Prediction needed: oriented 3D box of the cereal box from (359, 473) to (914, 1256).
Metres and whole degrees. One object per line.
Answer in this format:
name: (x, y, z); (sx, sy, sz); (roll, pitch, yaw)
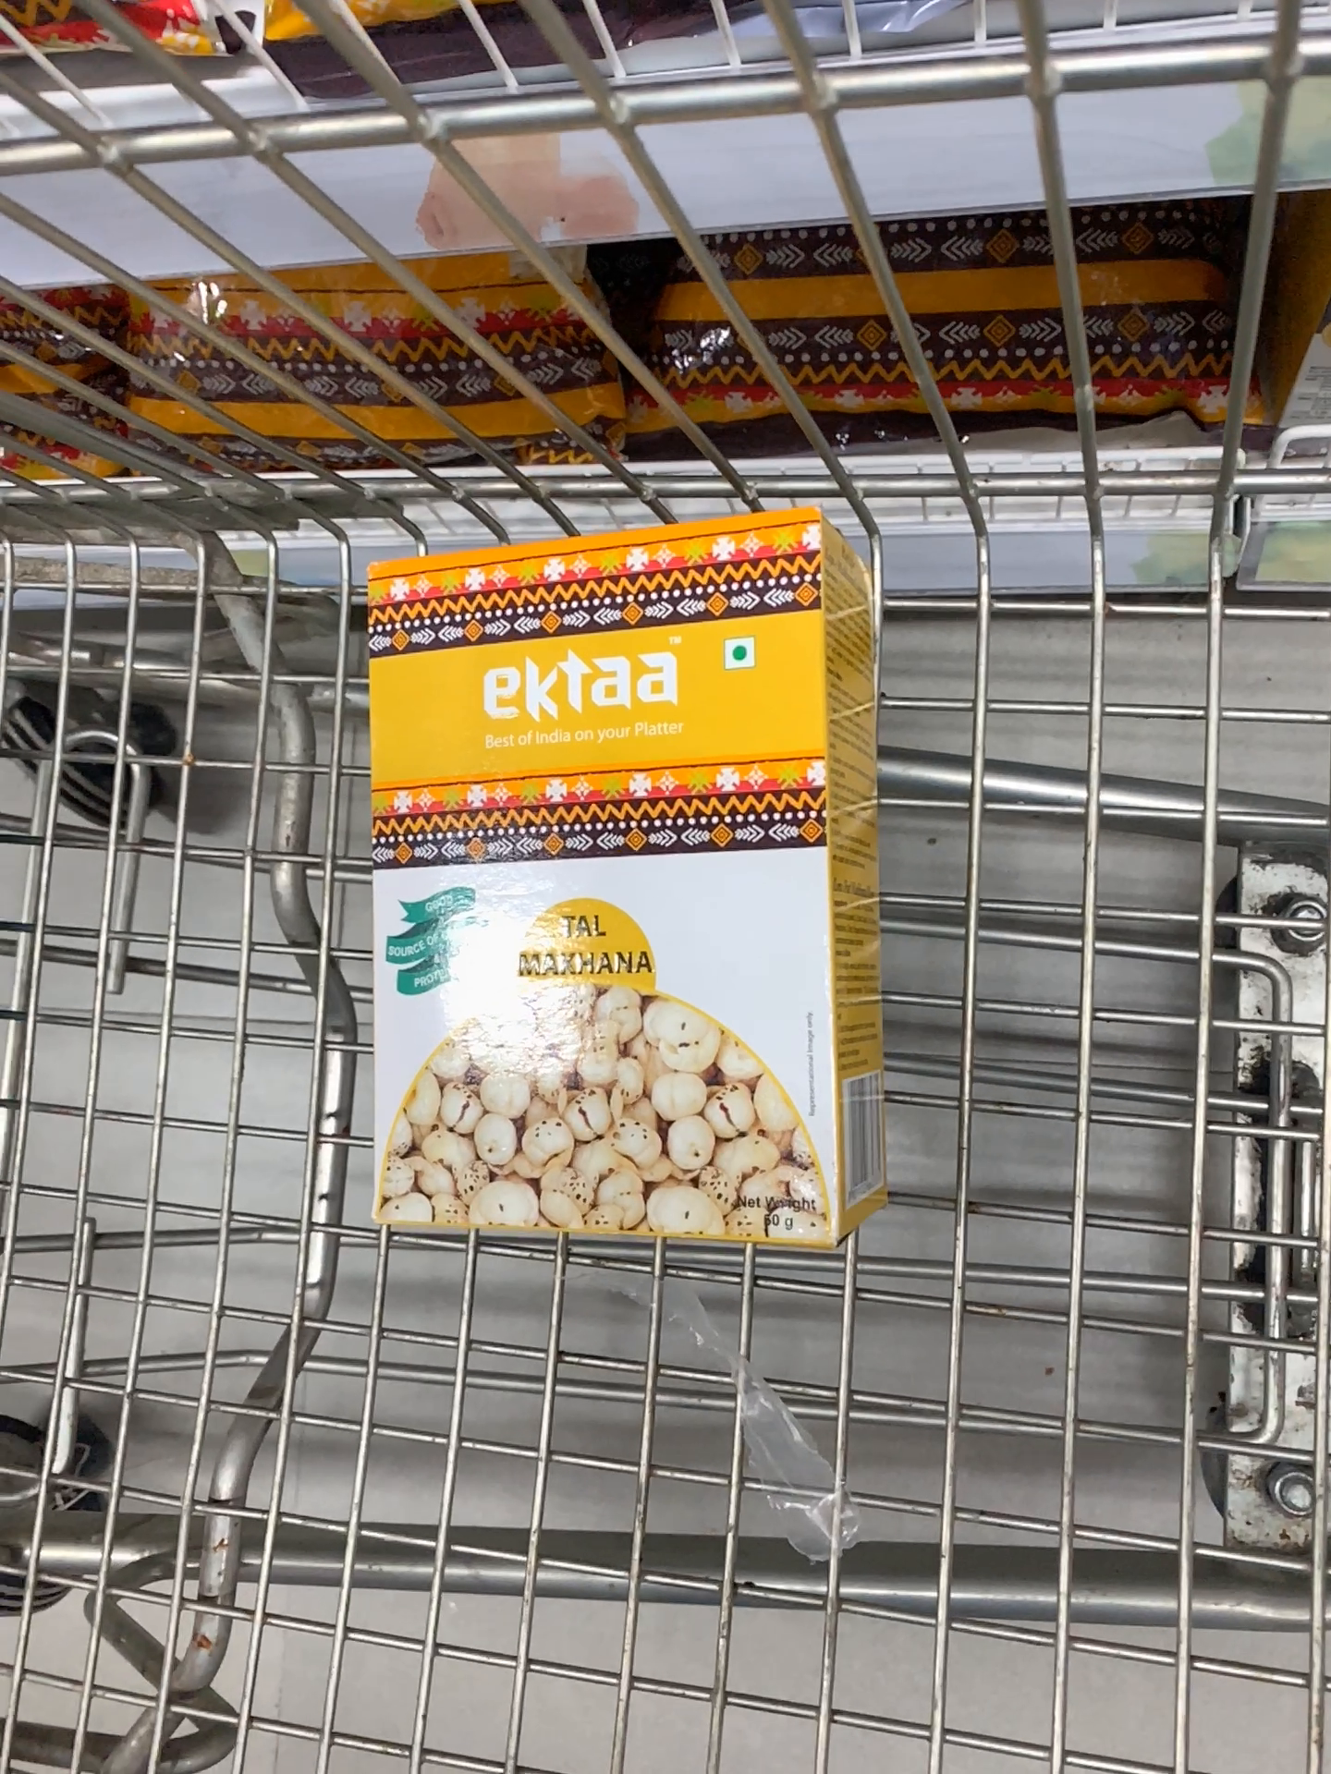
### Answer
cereal box: (-0.007, -0.003, 0.369); (0.130, 0.070, 0.180); (-2, 88, 21)
